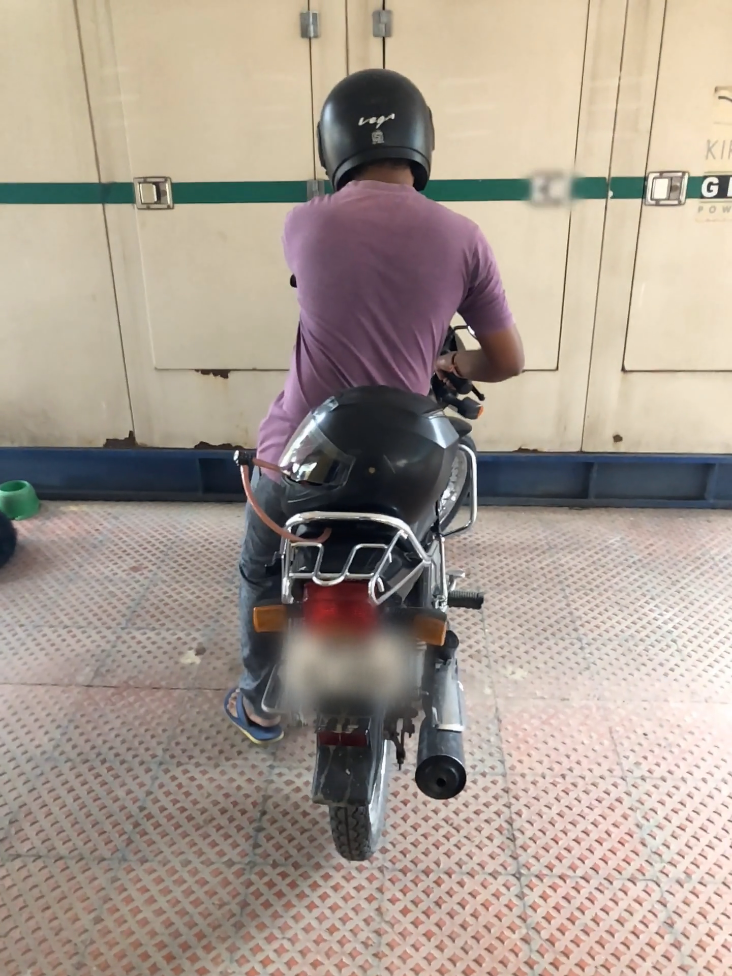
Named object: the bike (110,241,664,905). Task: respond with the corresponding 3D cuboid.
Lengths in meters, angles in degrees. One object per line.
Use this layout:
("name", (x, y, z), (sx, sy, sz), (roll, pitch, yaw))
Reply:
("bike", (0.209, -0.005, 2.063), (0.814, 0.928, 1.602), (5, 27, 11))
